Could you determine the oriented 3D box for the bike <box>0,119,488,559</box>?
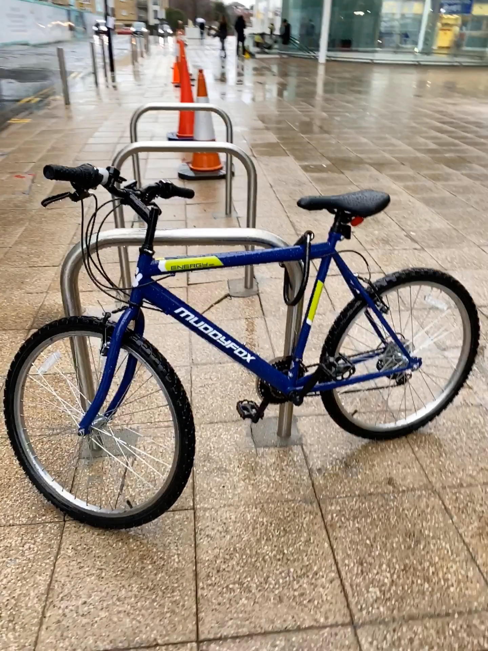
[{"bbox_3d":[0.051,-0.011,1.575,1.593,1.012,0.601,-7,31,-10],"label":"bike"}]
